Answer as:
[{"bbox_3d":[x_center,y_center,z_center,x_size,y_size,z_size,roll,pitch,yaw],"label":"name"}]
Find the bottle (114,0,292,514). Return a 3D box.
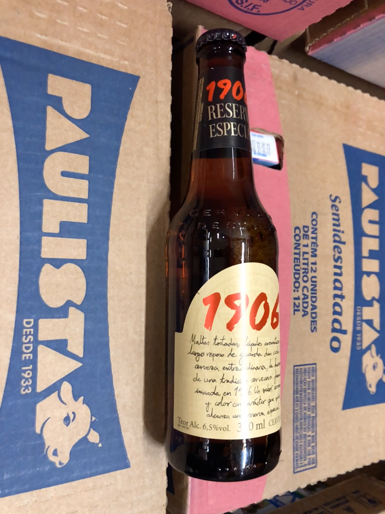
[{"bbox_3d":[0.006,-0.016,0.243,0.070,0.060,0.270,4,87,-35],"label":"bottle"}]
